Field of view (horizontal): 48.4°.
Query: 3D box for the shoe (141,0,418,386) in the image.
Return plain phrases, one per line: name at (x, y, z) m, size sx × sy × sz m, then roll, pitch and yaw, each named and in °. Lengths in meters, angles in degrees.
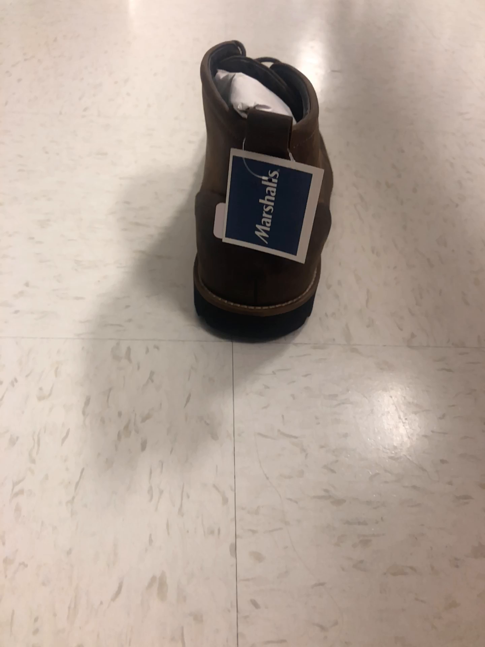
shoe at (0.015, -0.124, 0.382) m, size 0.115 × 0.167 × 0.284 m, roll 4°, pitch 45°, yaw -1°
